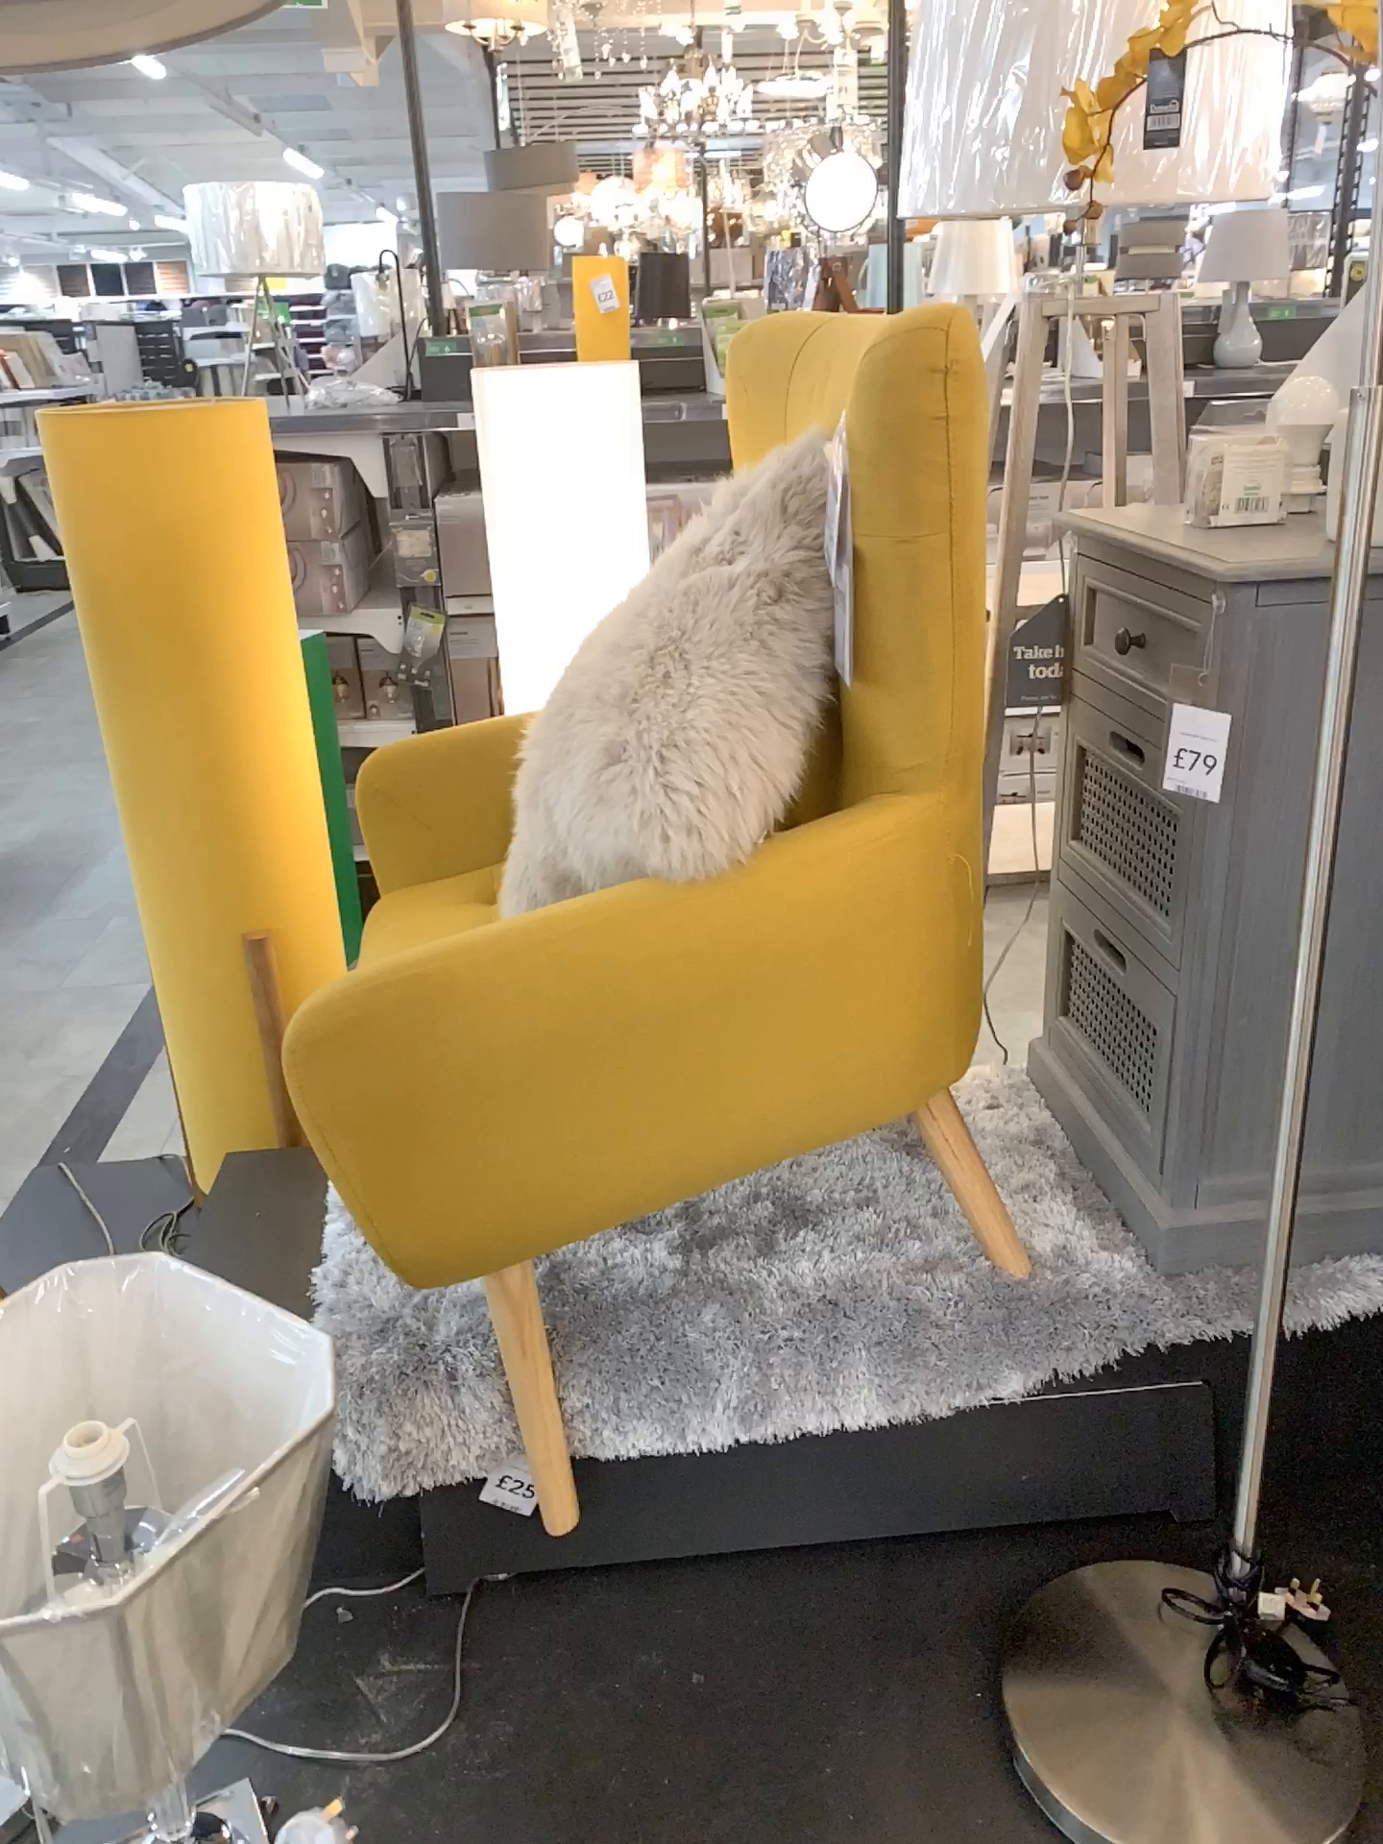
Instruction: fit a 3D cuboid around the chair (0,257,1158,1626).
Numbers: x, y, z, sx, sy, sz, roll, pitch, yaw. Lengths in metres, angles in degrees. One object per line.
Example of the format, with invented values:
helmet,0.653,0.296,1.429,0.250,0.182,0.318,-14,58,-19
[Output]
chair,-0.046,-0.008,1.379,0.710,1.021,0.595,-13,23,-2
